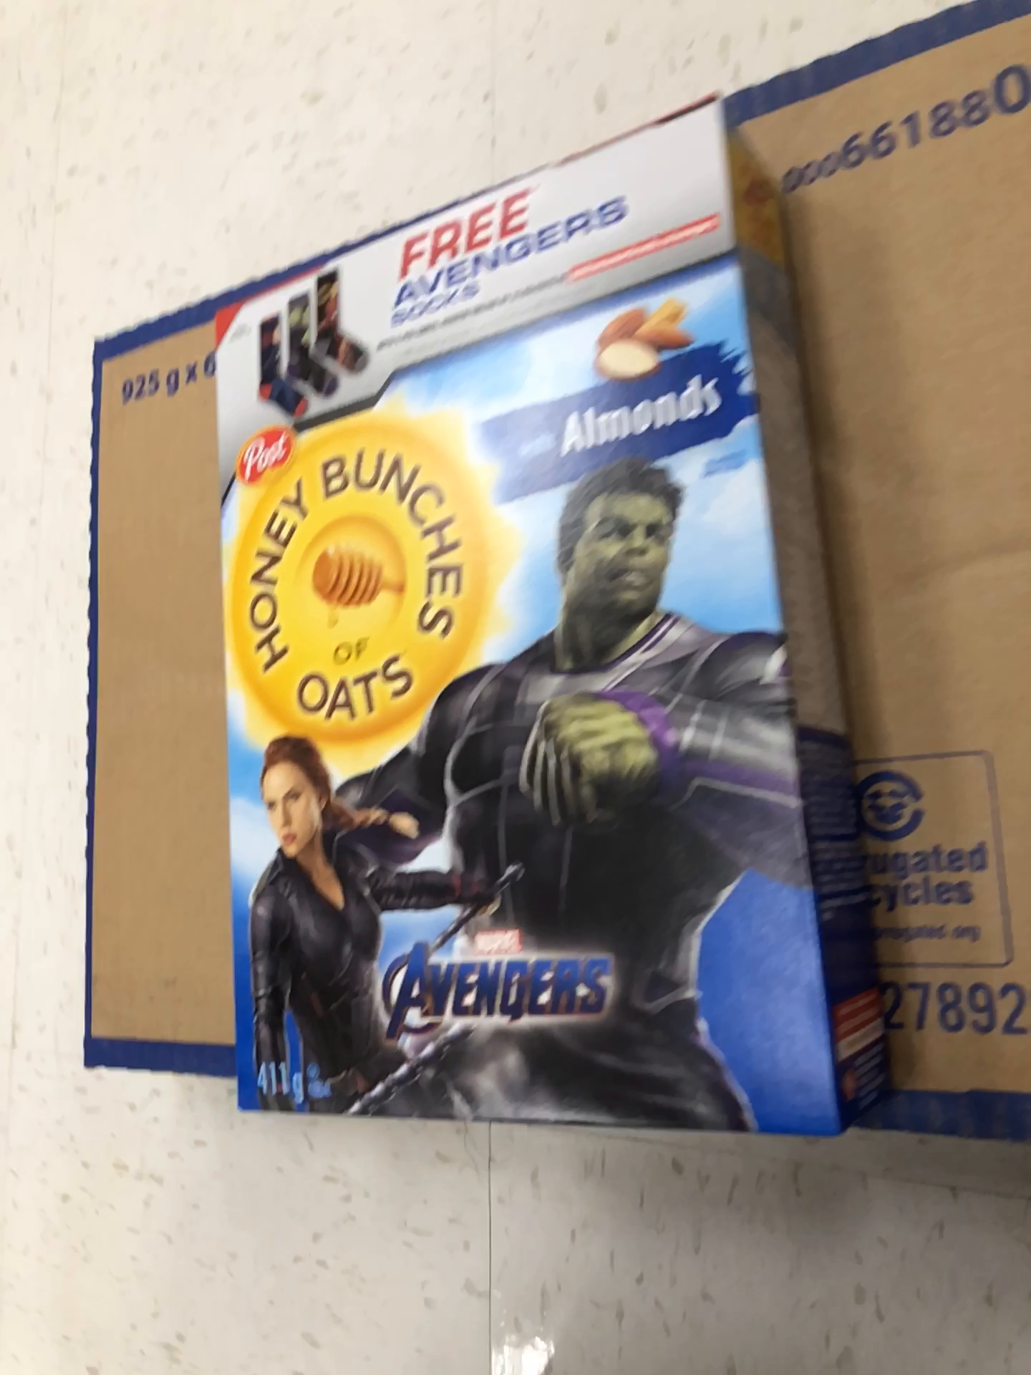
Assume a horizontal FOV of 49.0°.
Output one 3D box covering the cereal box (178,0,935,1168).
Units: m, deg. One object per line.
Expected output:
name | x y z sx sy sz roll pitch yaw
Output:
cereal box | -0.002 -0.019 0.351 0.201 0.070 0.290 -10 79 30
